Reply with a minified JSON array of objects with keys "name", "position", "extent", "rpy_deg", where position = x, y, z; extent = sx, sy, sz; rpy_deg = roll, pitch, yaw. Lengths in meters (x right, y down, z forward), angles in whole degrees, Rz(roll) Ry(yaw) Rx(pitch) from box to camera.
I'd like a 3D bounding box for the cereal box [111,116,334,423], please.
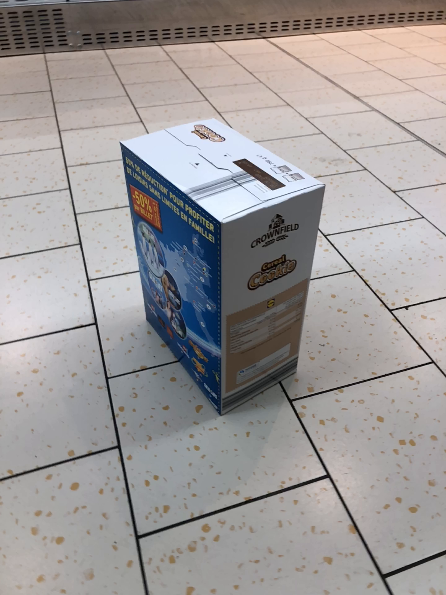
[{"name":"cereal box","position":[-0.010,-0.034,0.544],"extent":[0.120,0.248,0.200],"rpy_deg":[-23,45,-26]}]
